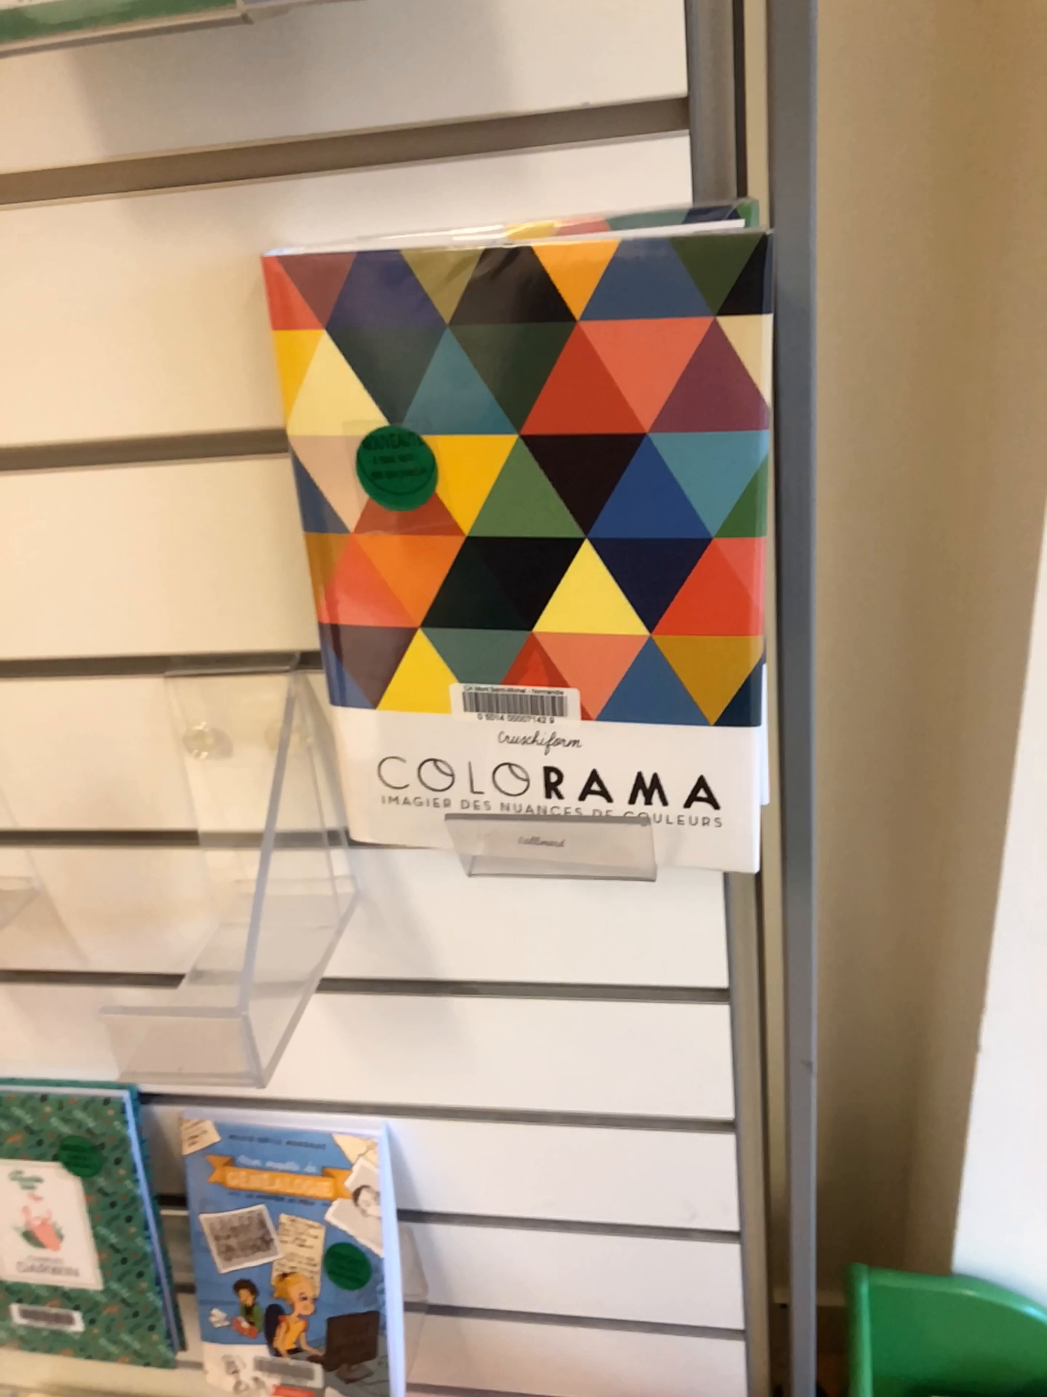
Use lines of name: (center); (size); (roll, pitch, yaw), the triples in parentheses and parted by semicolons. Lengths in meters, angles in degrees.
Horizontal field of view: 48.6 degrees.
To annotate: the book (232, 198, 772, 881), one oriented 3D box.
book: (0.002, -0.050, 0.424); (0.170, 0.231, 0.046); (2, 26, 15)
